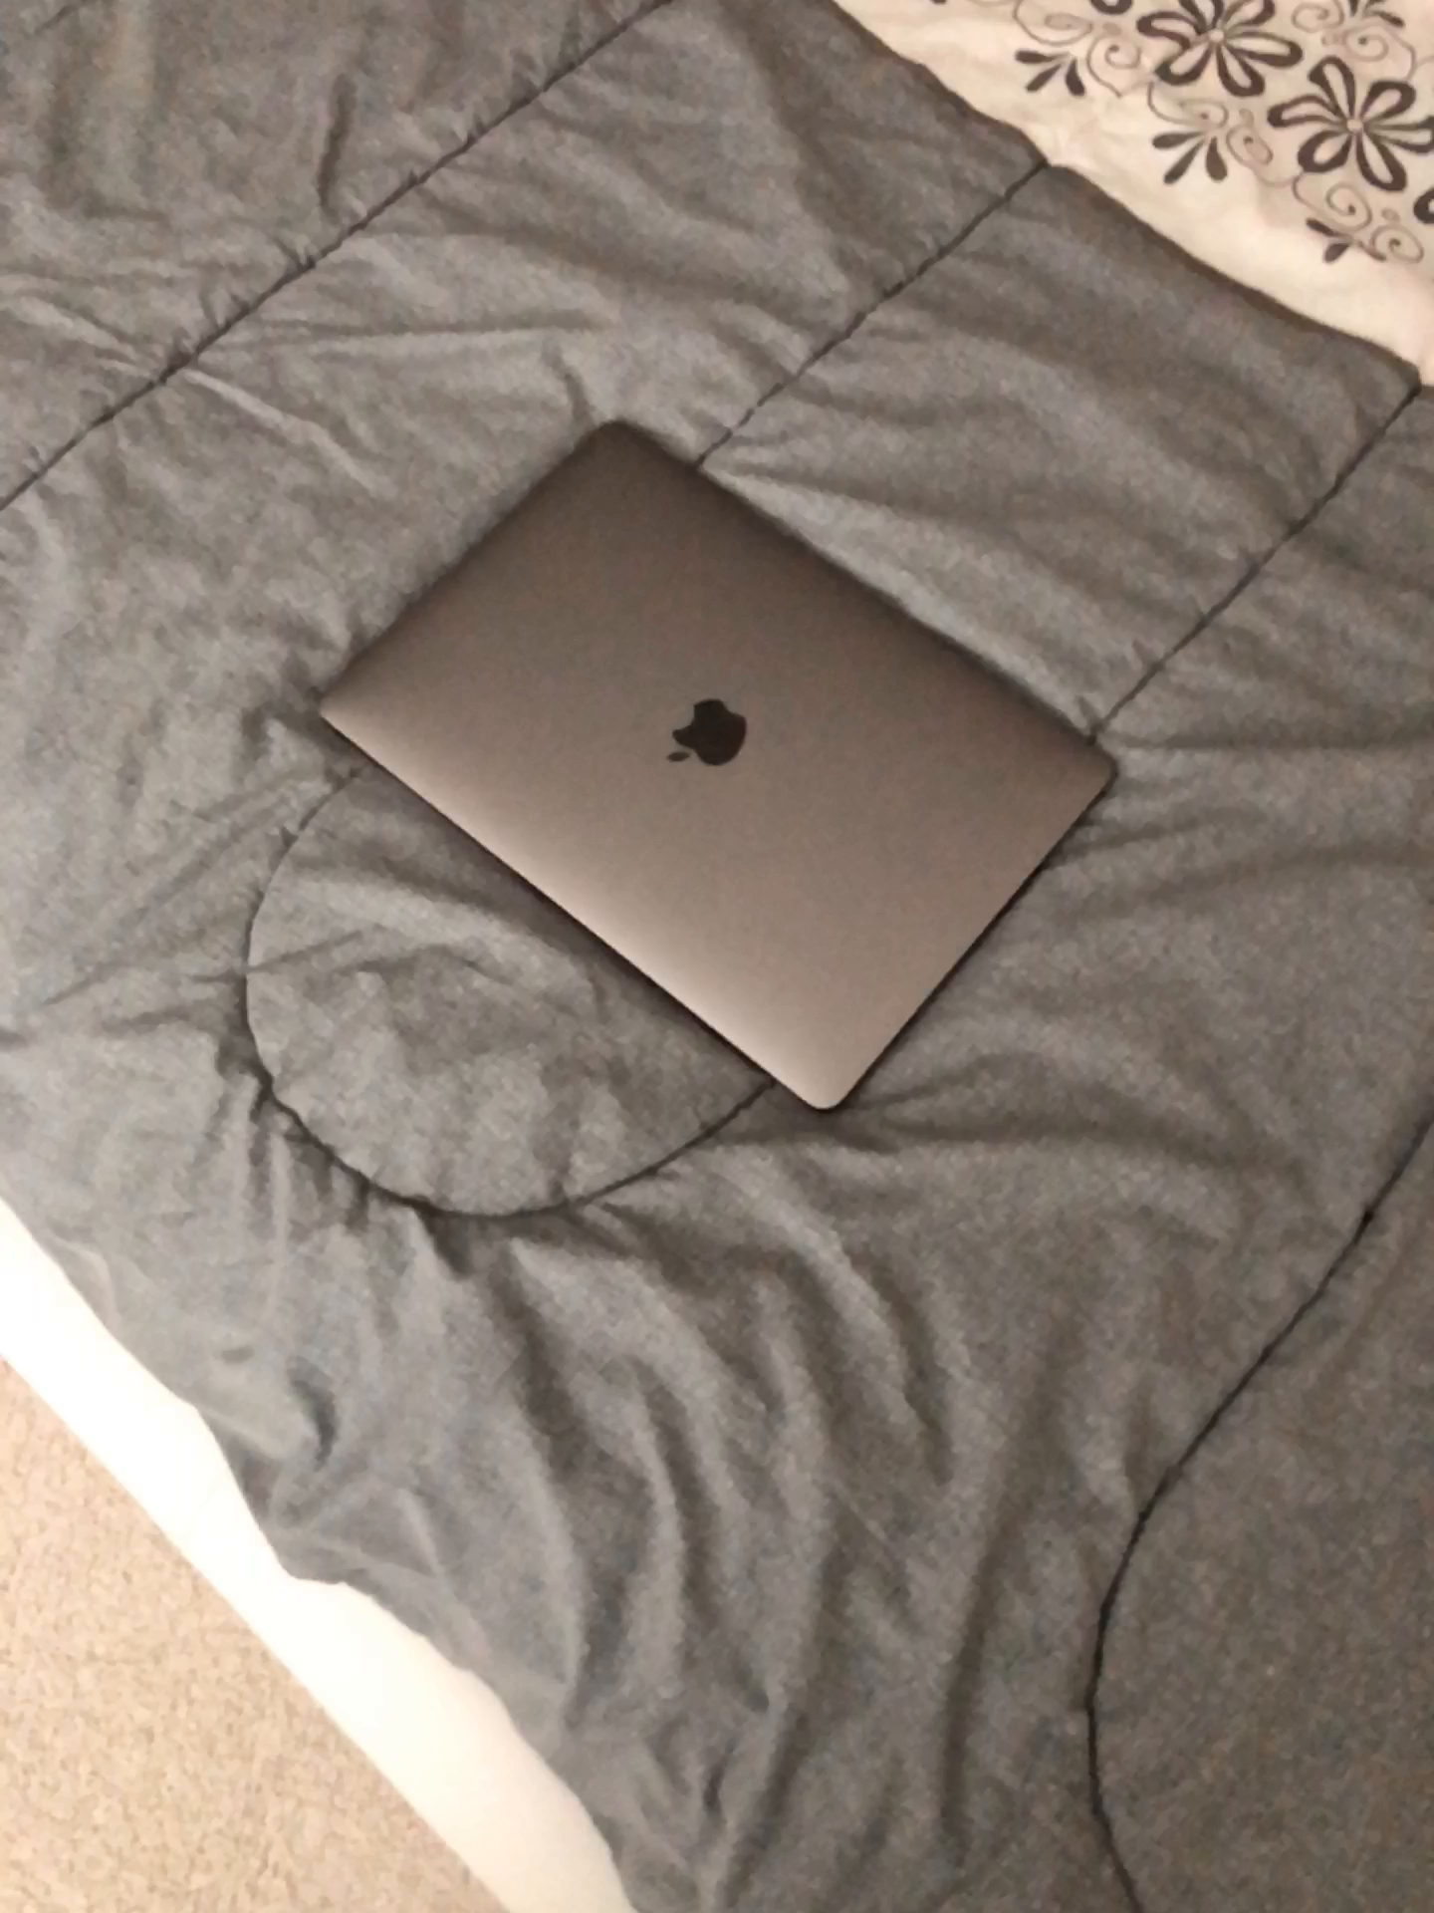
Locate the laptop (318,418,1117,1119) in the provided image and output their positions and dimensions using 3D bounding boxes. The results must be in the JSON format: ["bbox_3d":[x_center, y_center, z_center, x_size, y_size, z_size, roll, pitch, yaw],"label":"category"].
[{"bbox_3d":[-0.002,-0.097,0.710,0.295,0.008,0.207,38,76,14],"label":"laptop"}]
